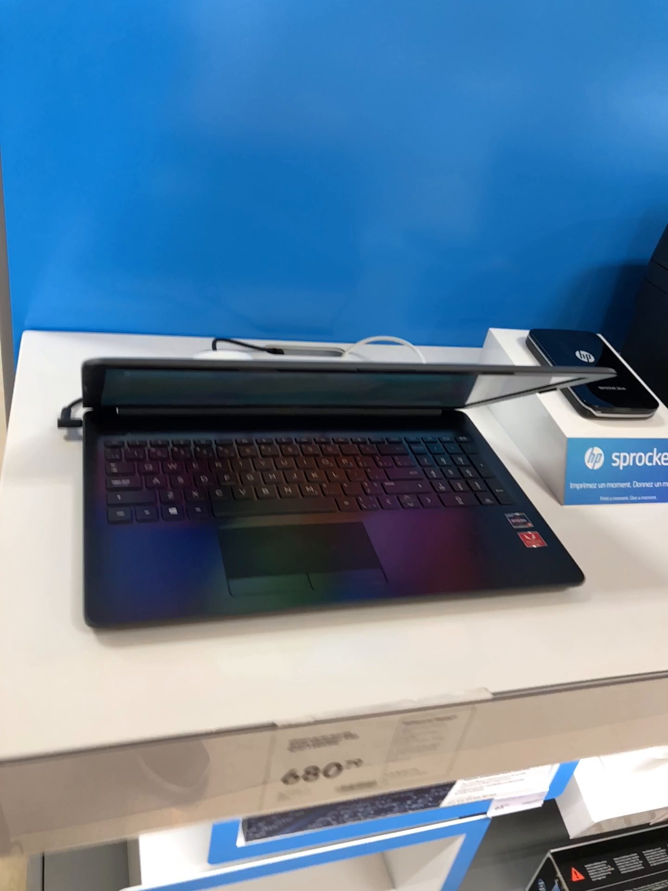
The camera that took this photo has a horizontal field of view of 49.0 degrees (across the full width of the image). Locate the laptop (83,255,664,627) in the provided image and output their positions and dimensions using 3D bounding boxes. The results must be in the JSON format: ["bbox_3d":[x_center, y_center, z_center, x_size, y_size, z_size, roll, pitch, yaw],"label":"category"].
[{"bbox_3d":[0.005,-0.020,0.546,0.355,0.130,0.243,-1,34,-22],"label":"laptop"}]
